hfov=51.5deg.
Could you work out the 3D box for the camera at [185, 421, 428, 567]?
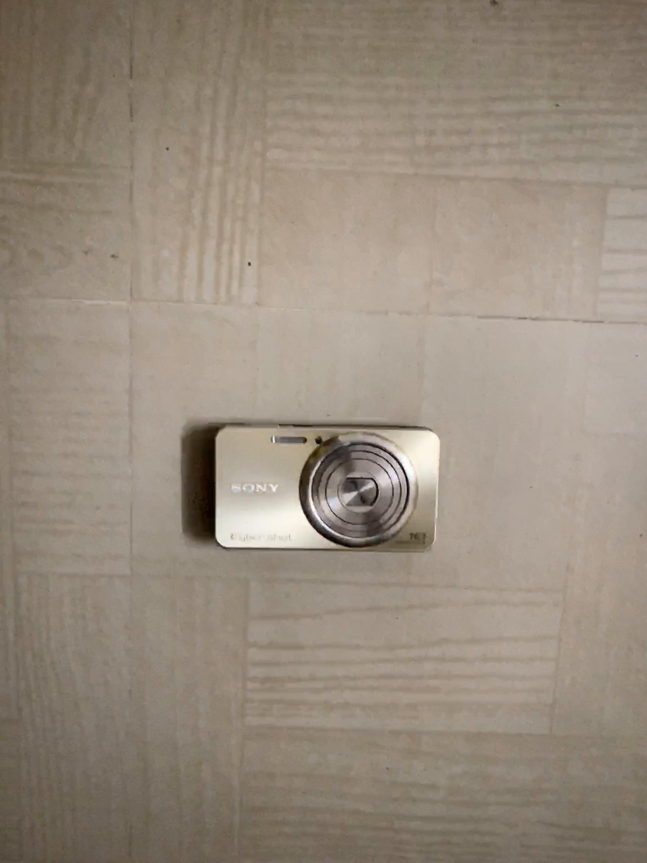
[{"bbox_3d":[-0.007,0.026,0.282,0.097,0.019,0.057,1,98,-2],"label":"camera"}]
